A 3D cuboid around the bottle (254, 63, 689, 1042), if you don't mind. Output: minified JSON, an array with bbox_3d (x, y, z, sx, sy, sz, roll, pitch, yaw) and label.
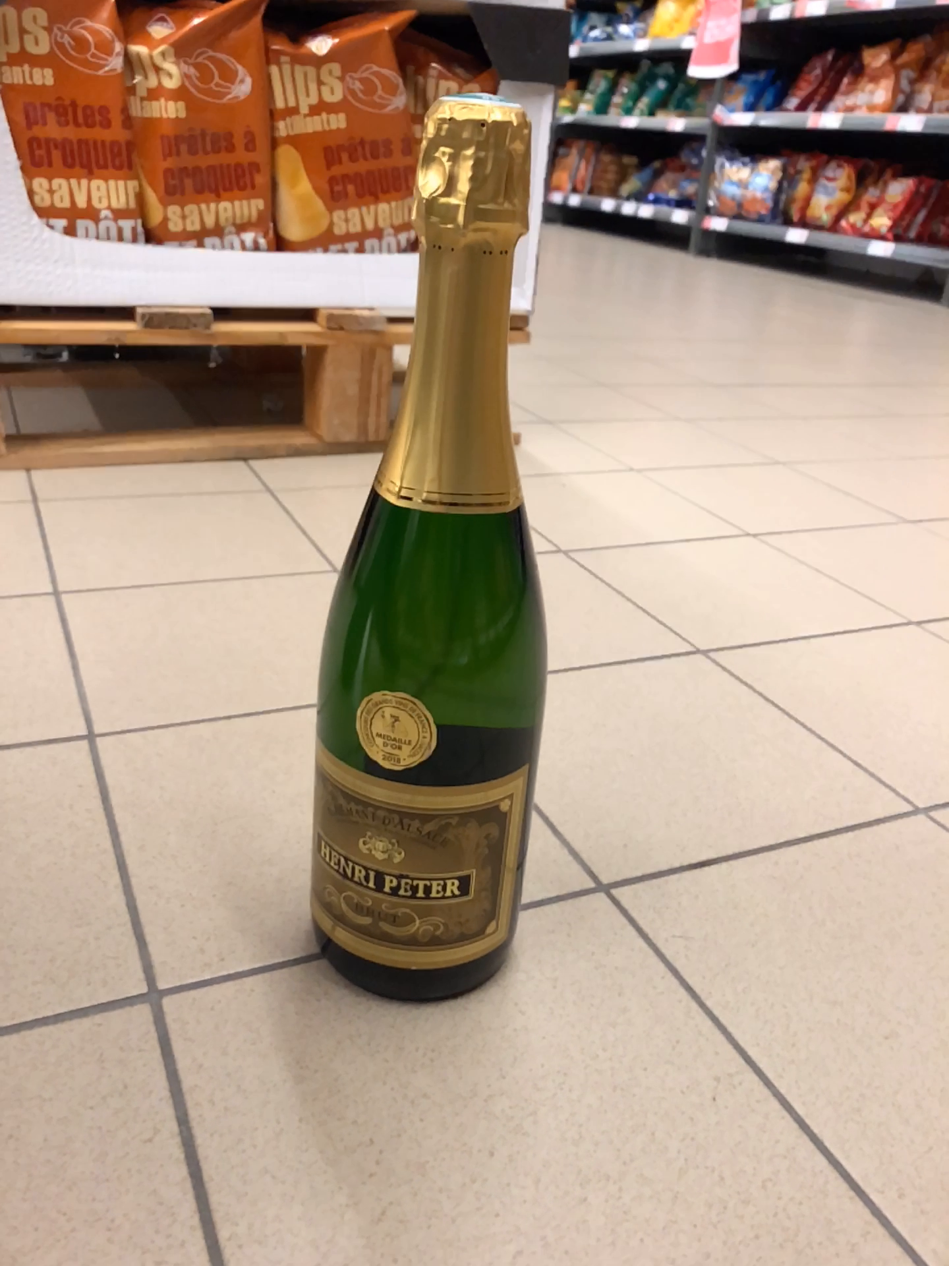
[{"bbox_3d":[-0.008,-0.022,0.377,0.100,0.308,0.101,4,23,-2],"label":"bottle"}]
